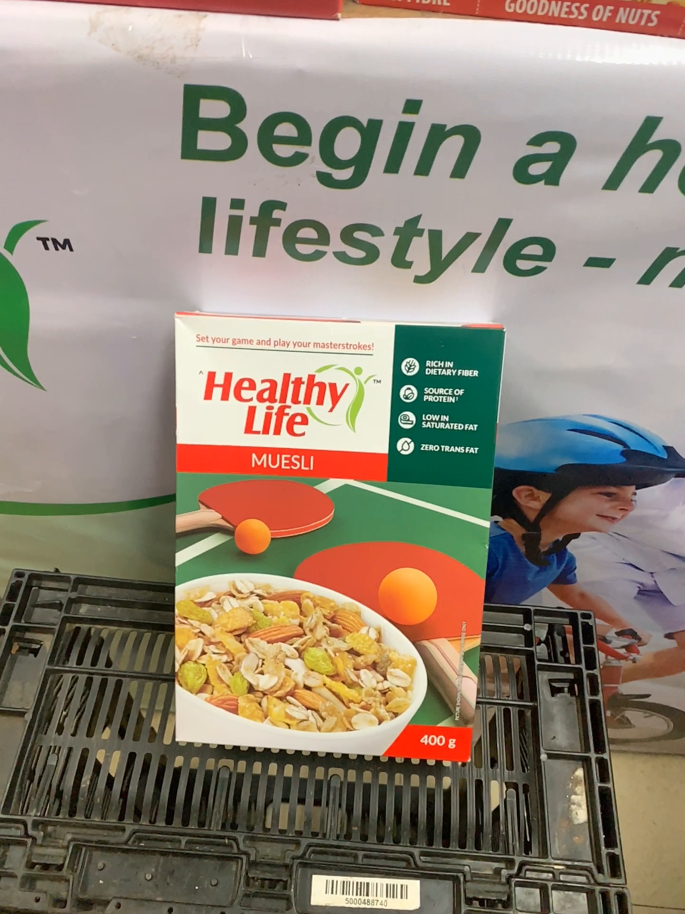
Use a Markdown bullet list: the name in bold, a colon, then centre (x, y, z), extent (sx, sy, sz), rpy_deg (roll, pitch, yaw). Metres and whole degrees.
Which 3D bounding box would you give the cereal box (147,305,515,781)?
- **cereal box**: centre (-0.007, 0.040, 0.381), extent (0.170, 0.230, 0.080), rpy_deg (2, 9, 4)
